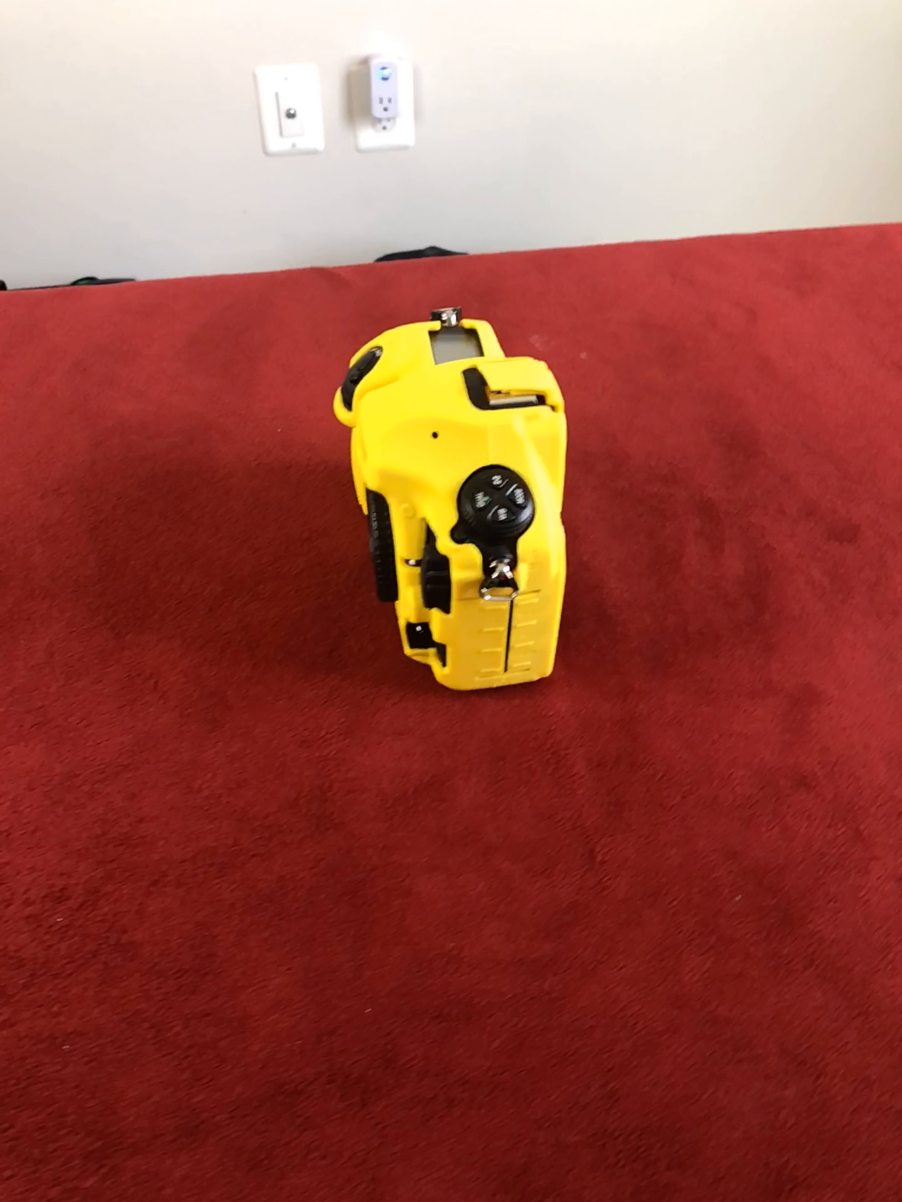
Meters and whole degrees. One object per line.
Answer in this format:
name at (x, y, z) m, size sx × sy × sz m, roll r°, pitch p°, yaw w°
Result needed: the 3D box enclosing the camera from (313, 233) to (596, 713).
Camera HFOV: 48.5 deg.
camera at (-0.005, -0.057, 0.423) m, size 0.082 × 0.116 × 0.161 m, roll -7°, pitch 50°, yaw -6°
